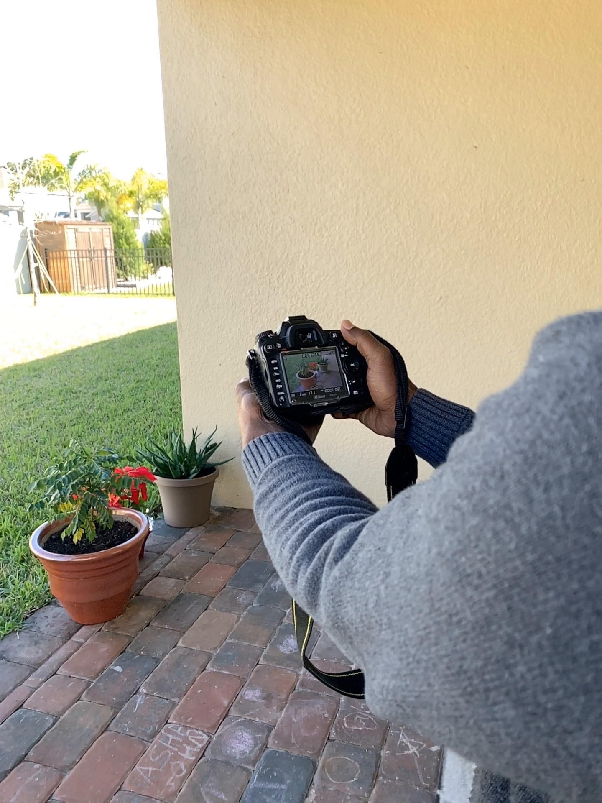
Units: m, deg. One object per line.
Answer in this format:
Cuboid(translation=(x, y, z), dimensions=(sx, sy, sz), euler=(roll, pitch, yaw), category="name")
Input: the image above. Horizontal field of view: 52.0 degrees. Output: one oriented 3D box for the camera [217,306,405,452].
Cuboid(translation=(0.000, -0.020, 0.702), dimensions=(0.130, 0.101, 0.199), euler=(-7, -12, -24), category="camera")
